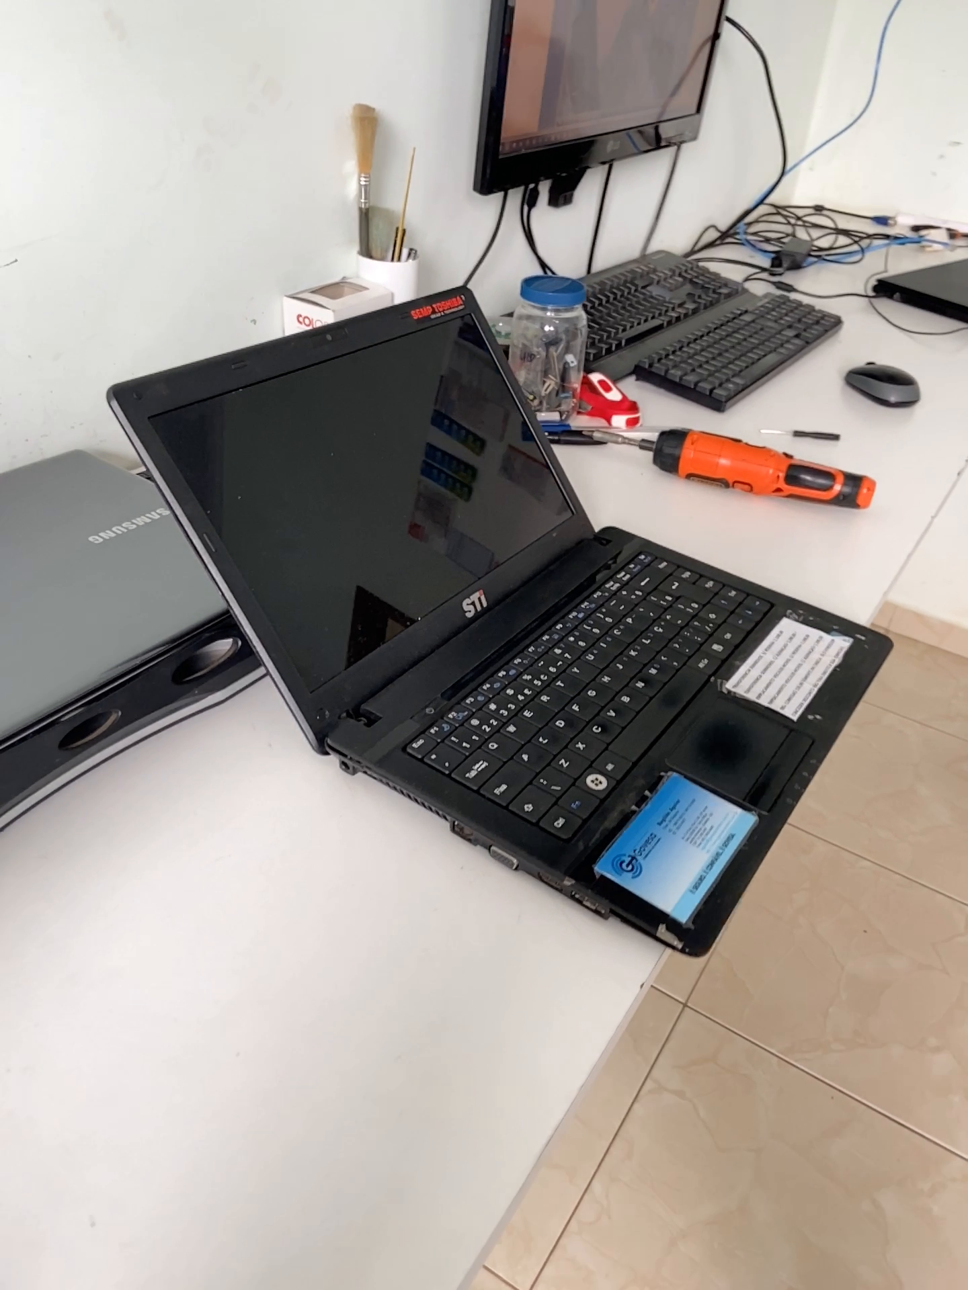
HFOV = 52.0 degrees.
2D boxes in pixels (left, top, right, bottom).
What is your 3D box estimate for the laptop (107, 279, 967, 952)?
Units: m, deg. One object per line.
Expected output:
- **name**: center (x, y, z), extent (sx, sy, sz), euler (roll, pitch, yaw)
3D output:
- **laptop**: center (0.043, -0.071, 0.614), extent (0.384, 0.159, 0.336), euler (25, 39, 25)
